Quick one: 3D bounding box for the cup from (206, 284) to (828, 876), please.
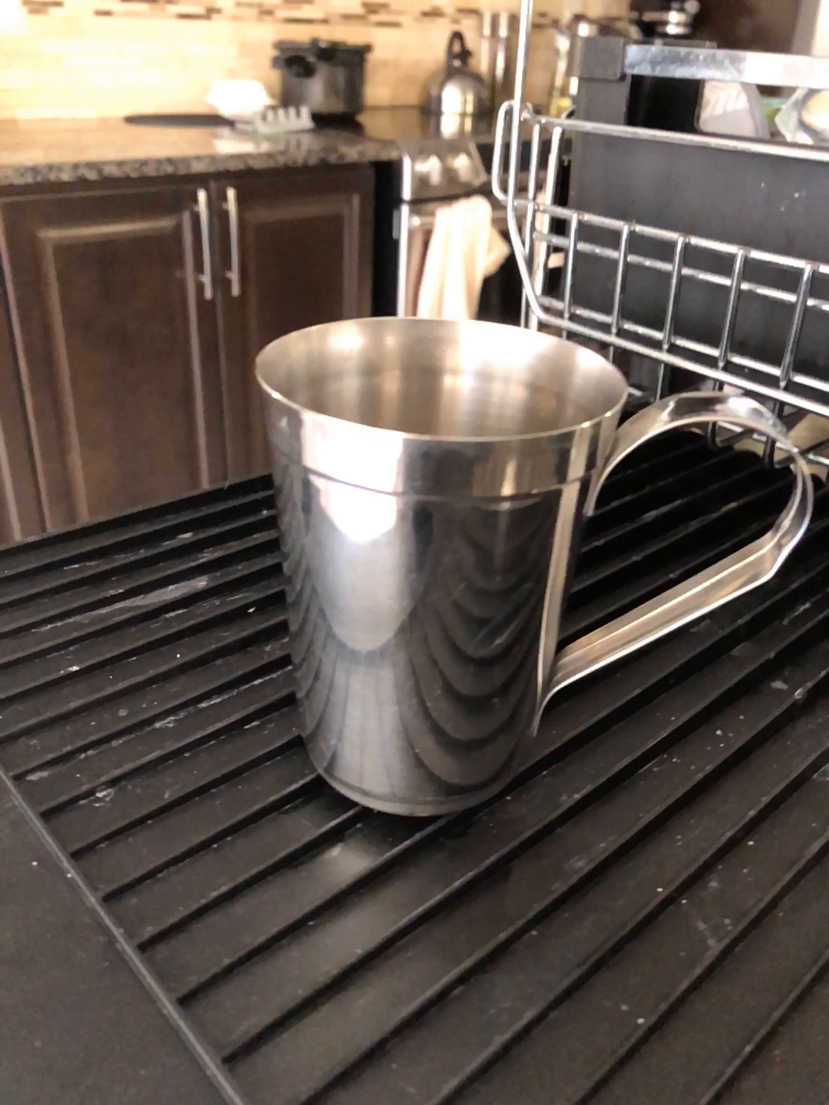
[{"bbox_3d":[0.022,0.003,0.197,0.110,0.097,0.066,5,29,3],"label":"cup"}]
